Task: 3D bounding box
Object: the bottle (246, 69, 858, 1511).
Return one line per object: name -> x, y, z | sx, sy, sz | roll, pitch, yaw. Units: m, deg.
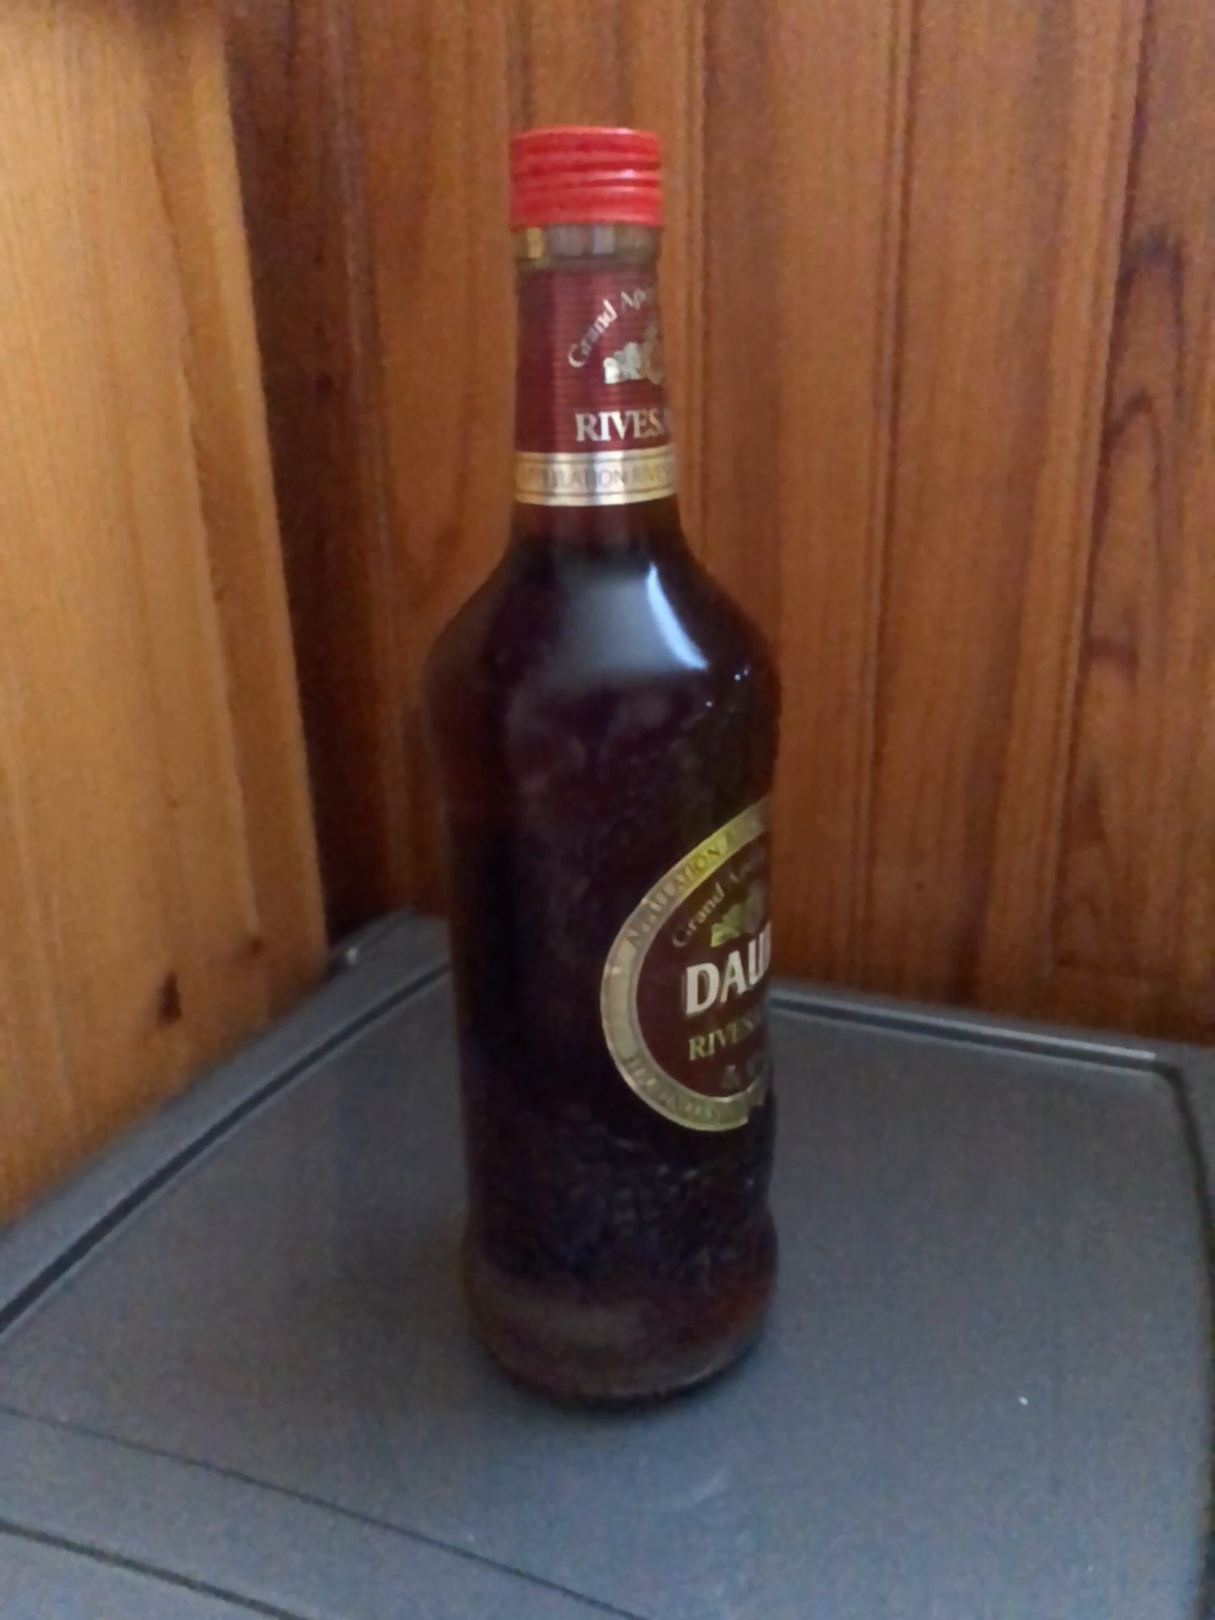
bottle -> -0.004, 0.002, 0.324 | 0.090, 0.299, 0.091 | -1, 19, 0
